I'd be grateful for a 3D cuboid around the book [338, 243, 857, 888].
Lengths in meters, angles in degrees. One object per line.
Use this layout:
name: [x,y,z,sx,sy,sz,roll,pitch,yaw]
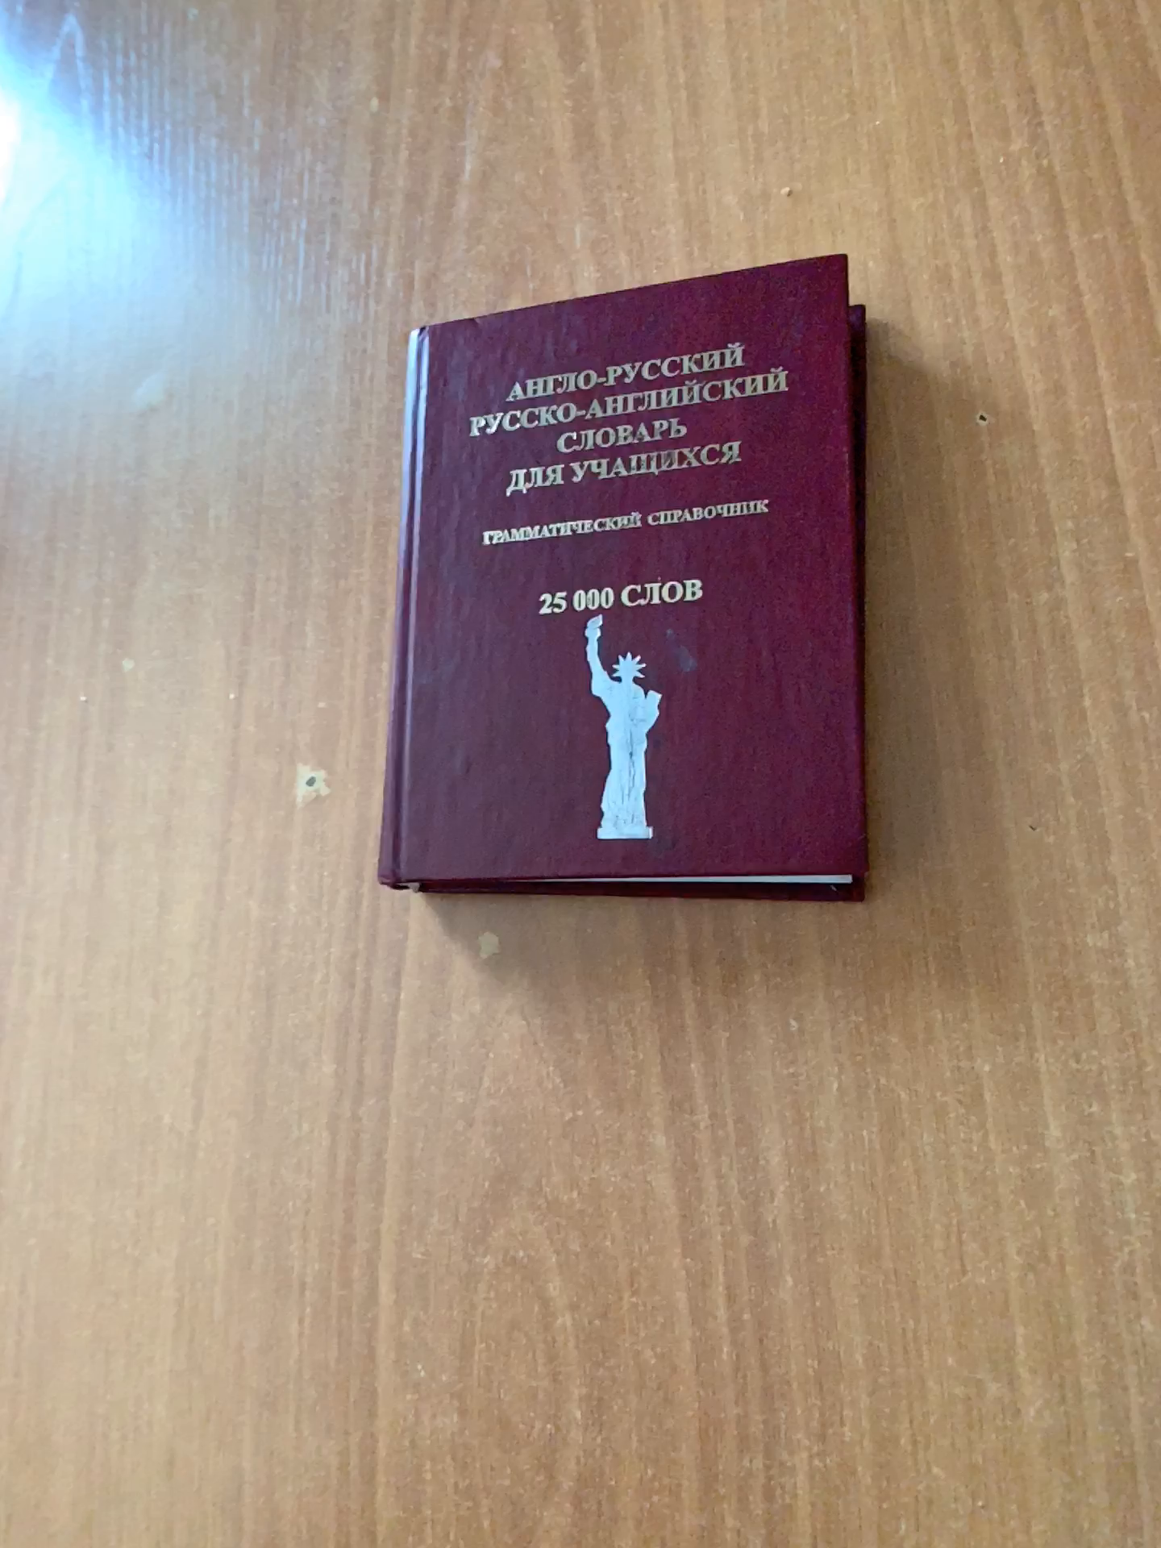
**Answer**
book: [0.005,-0.053,0.329,0.134,0.024,0.166,-2,78,18]
